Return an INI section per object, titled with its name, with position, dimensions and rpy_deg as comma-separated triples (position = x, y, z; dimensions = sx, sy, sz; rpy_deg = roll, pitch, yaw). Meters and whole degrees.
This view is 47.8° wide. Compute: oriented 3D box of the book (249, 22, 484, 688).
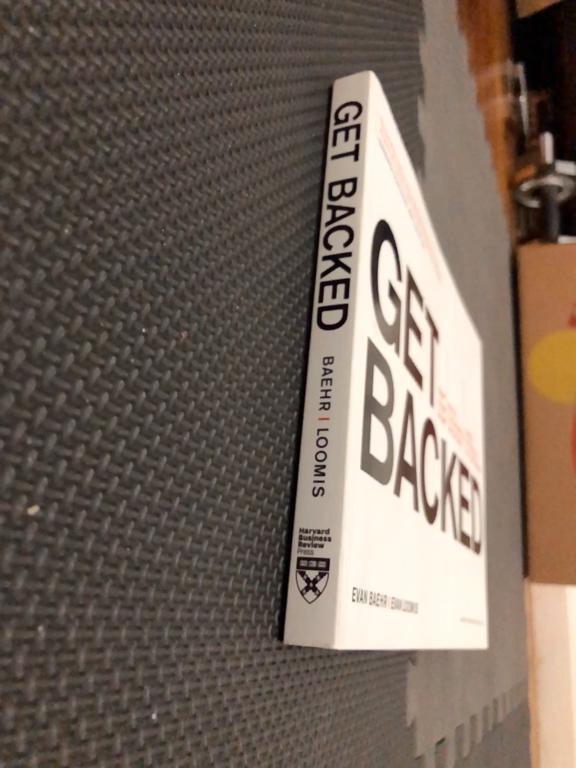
[book]
position = 0.062, 0.019, 0.304
dimensions = 0.261, 0.020, 0.210
rpy_deg = 41, 51, -58
